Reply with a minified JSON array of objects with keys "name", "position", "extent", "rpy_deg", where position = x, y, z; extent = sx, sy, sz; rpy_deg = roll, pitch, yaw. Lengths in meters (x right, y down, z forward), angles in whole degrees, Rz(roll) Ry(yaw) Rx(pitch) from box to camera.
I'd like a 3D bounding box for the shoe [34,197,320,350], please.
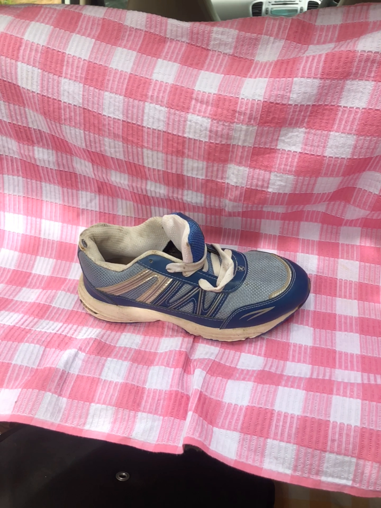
[{"name":"shoe","position":[-0.008,0.015,0.474],"extent":[0.280,0.099,0.111],"rpy_deg":[5,39,11]}]
